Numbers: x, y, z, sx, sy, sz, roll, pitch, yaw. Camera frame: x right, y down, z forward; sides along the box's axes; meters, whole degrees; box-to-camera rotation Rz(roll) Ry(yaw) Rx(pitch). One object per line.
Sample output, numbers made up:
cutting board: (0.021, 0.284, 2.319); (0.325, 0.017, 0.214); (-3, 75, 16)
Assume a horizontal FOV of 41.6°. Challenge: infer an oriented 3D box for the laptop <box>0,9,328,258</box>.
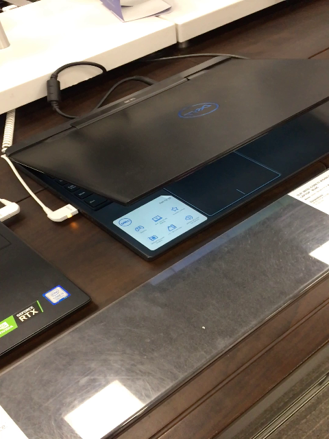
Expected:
laptop: (0.038, -0.134, 0.535); (0.371, 0.092, 0.255); (-35, 55, -26)
